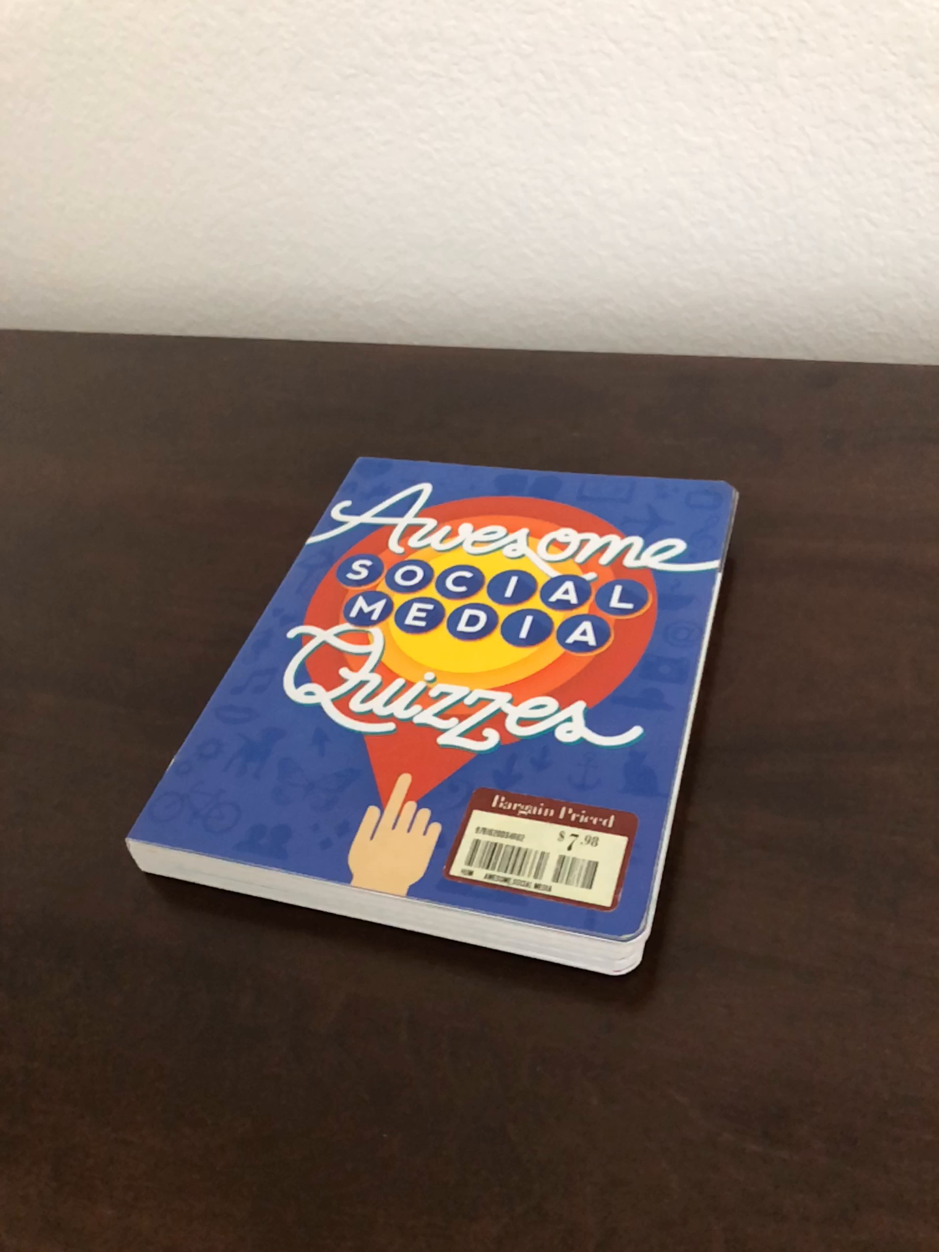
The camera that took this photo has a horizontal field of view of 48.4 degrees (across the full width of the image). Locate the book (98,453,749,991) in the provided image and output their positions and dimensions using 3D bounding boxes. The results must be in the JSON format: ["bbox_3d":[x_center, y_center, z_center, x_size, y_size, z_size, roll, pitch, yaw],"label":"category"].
[{"bbox_3d":[-0.002,0.012,0.369,0.172,0.020,0.202,7,47,18],"label":"book"}]
